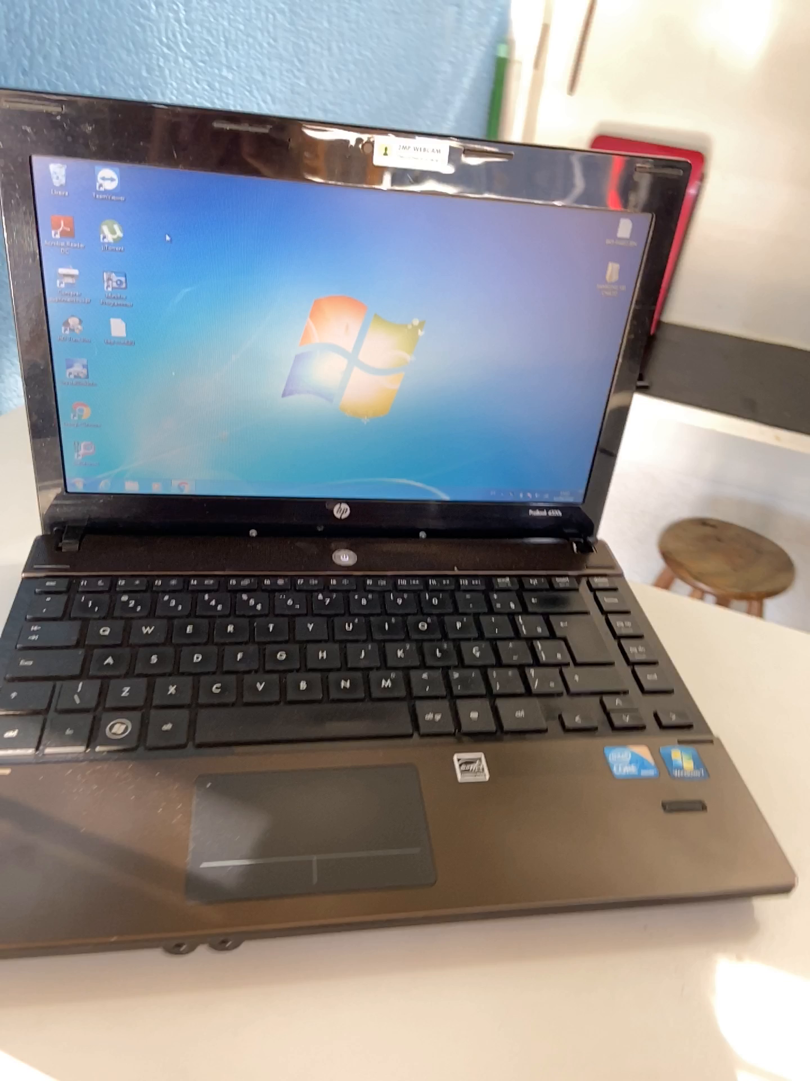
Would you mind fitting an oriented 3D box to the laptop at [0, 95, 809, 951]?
[{"bbox_3d":[-0.012,-0.031,0.342,0.321,0.207,0.260,0,34,-9],"label":"laptop"}]
